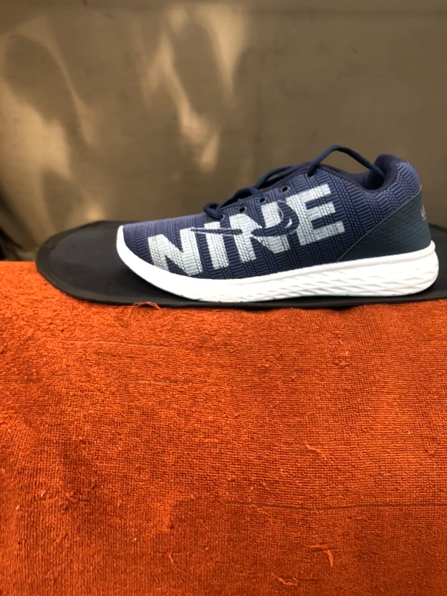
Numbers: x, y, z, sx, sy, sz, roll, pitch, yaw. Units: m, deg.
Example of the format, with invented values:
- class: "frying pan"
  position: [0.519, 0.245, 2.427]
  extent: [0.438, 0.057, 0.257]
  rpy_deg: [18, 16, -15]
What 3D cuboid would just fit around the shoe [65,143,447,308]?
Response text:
- class: "shoe"
  position: [0.041, -0.066, 0.414]
  extent: [0.290, 0.100, 0.131]
  rpy_deg: [-2, 21, 3]
